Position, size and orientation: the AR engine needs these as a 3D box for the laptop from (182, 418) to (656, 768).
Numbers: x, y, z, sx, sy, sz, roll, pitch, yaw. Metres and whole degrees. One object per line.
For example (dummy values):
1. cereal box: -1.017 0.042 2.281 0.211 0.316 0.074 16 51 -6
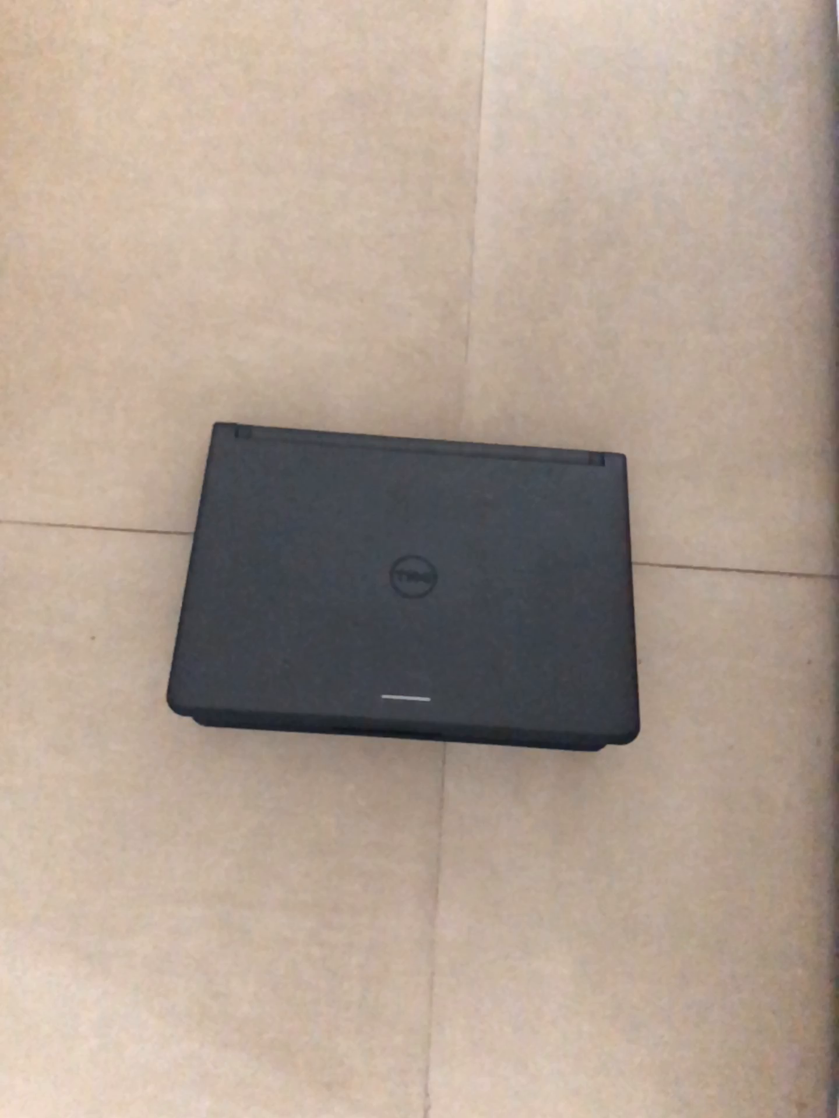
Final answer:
1. laptop: 0.000 0.028 0.684 0.314 0.064 0.220 5 87 -1
